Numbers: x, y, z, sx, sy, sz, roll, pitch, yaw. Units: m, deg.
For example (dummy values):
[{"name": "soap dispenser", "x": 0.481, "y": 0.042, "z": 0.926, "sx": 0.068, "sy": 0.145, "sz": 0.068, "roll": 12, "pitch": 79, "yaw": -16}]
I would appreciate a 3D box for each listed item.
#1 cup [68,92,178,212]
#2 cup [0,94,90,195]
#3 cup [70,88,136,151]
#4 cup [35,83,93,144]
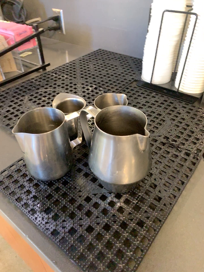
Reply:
[{"name": "cup", "x": 0.027, "y": 0.019, "z": 0.360, "sx": 0.100, "sy": 0.119, "sz": 0.141, "roll": -26, "pitch": 46, "yaw": -27}, {"name": "cup", "x": -0.096, "y": 0.012, "z": 0.380, "sx": 0.120, "sy": 0.119, "sz": 0.080, "roll": -30, "pitch": 48, "yaw": -30}, {"name": "cup", "x": 0.003, "y": -0.038, "z": 0.432, "sx": 0.110, "sy": 0.070, "sz": 0.070, "roll": -29, "pitch": 47, "yaw": -29}, {"name": "cup", "x": -0.081, "y": -0.052, "z": 0.449, "sx": 0.070, "sy": 0.070, "sz": 0.111, "roll": -26, "pitch": 46, "yaw": -26}]
